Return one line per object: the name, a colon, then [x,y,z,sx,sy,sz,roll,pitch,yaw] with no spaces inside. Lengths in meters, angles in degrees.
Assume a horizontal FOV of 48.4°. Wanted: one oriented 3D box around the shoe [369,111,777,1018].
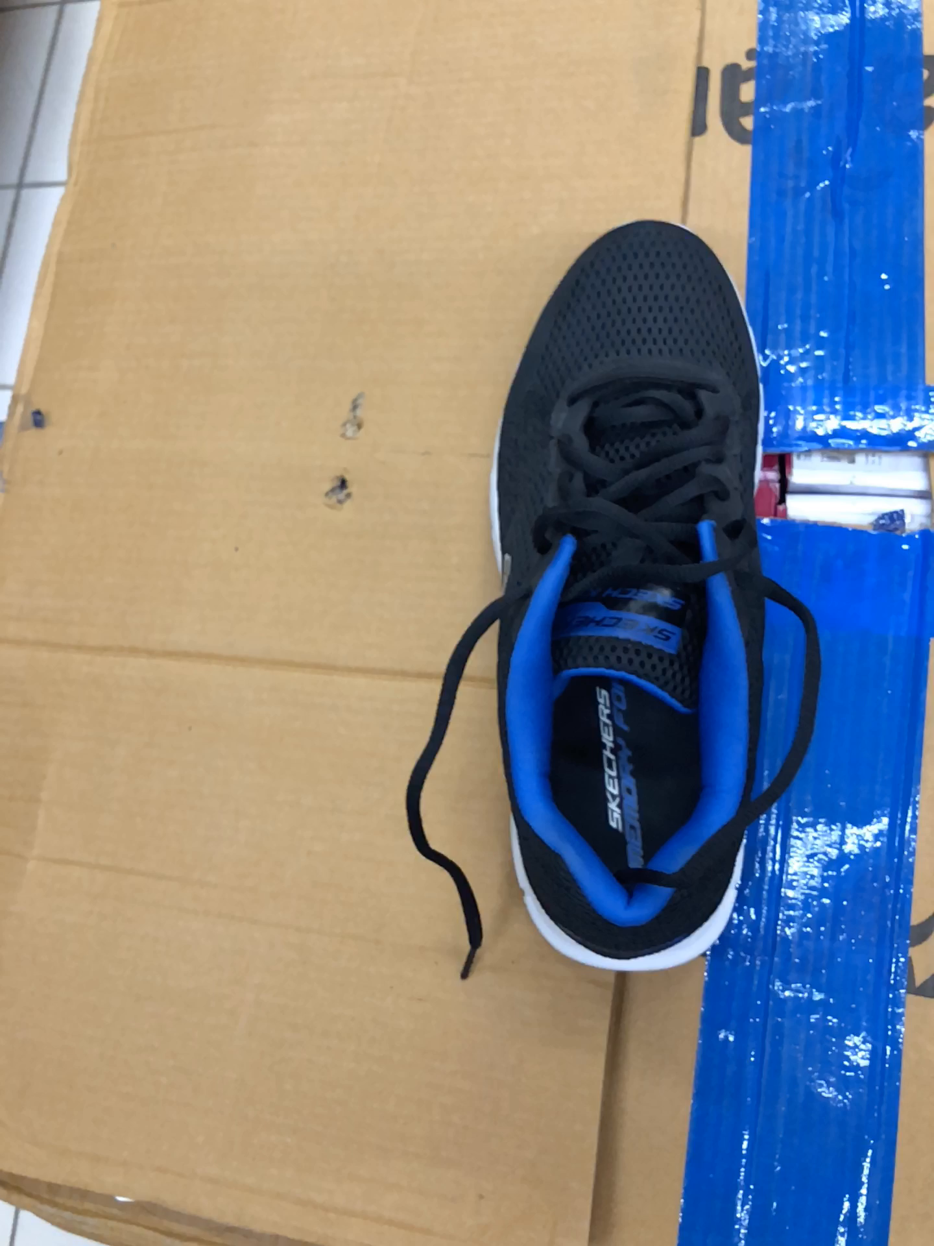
shoe: [0.049,-0.019,0.370,0.114,0.106,0.278,1,77,15]
